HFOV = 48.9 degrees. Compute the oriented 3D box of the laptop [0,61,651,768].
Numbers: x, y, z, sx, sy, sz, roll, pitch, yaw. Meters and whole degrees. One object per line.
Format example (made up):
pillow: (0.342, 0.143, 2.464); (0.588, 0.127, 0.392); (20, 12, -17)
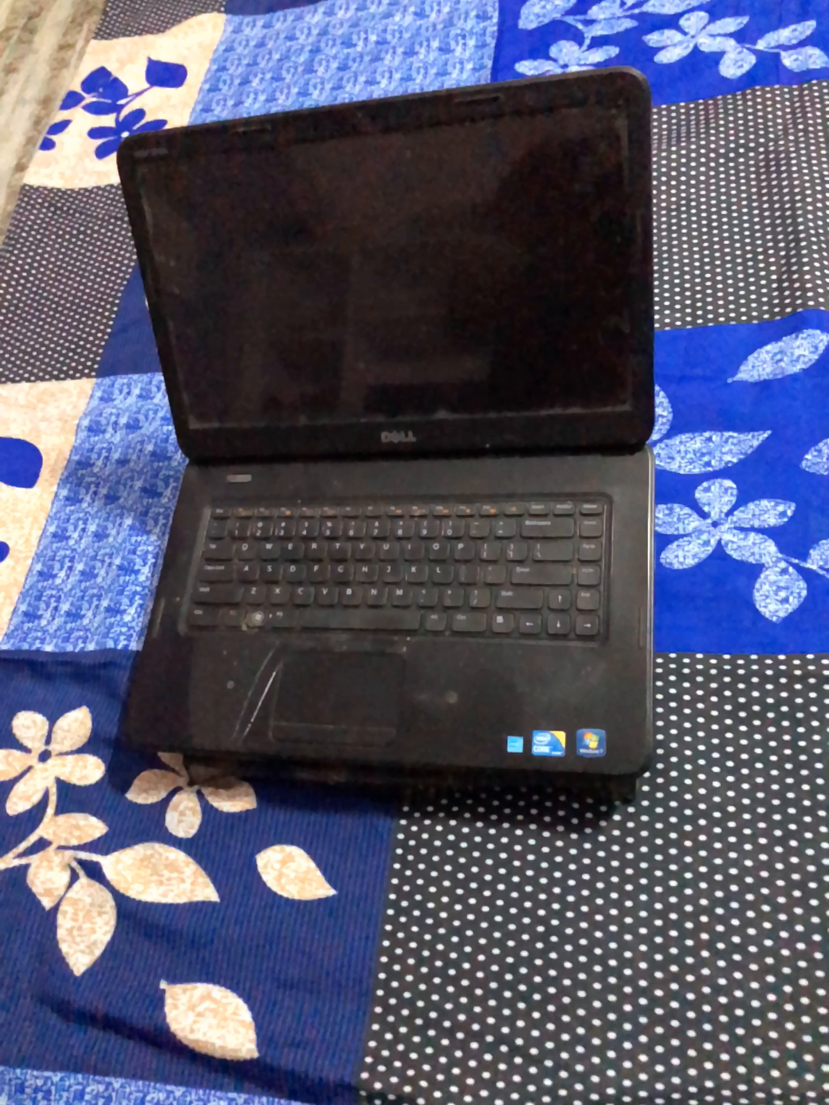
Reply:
laptop: (-0.031, -0.085, 0.611); (0.363, 0.187, 0.390); (0, 63, 14)
